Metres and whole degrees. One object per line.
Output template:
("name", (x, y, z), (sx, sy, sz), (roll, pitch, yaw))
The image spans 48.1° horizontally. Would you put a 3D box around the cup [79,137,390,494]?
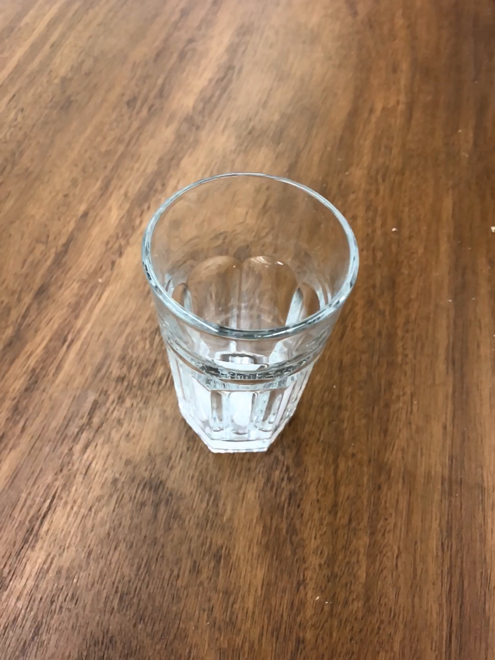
("cup", (-0.003, 0.000, 0.205), (0.070, 0.095, 0.072), (1, 57, -2))
